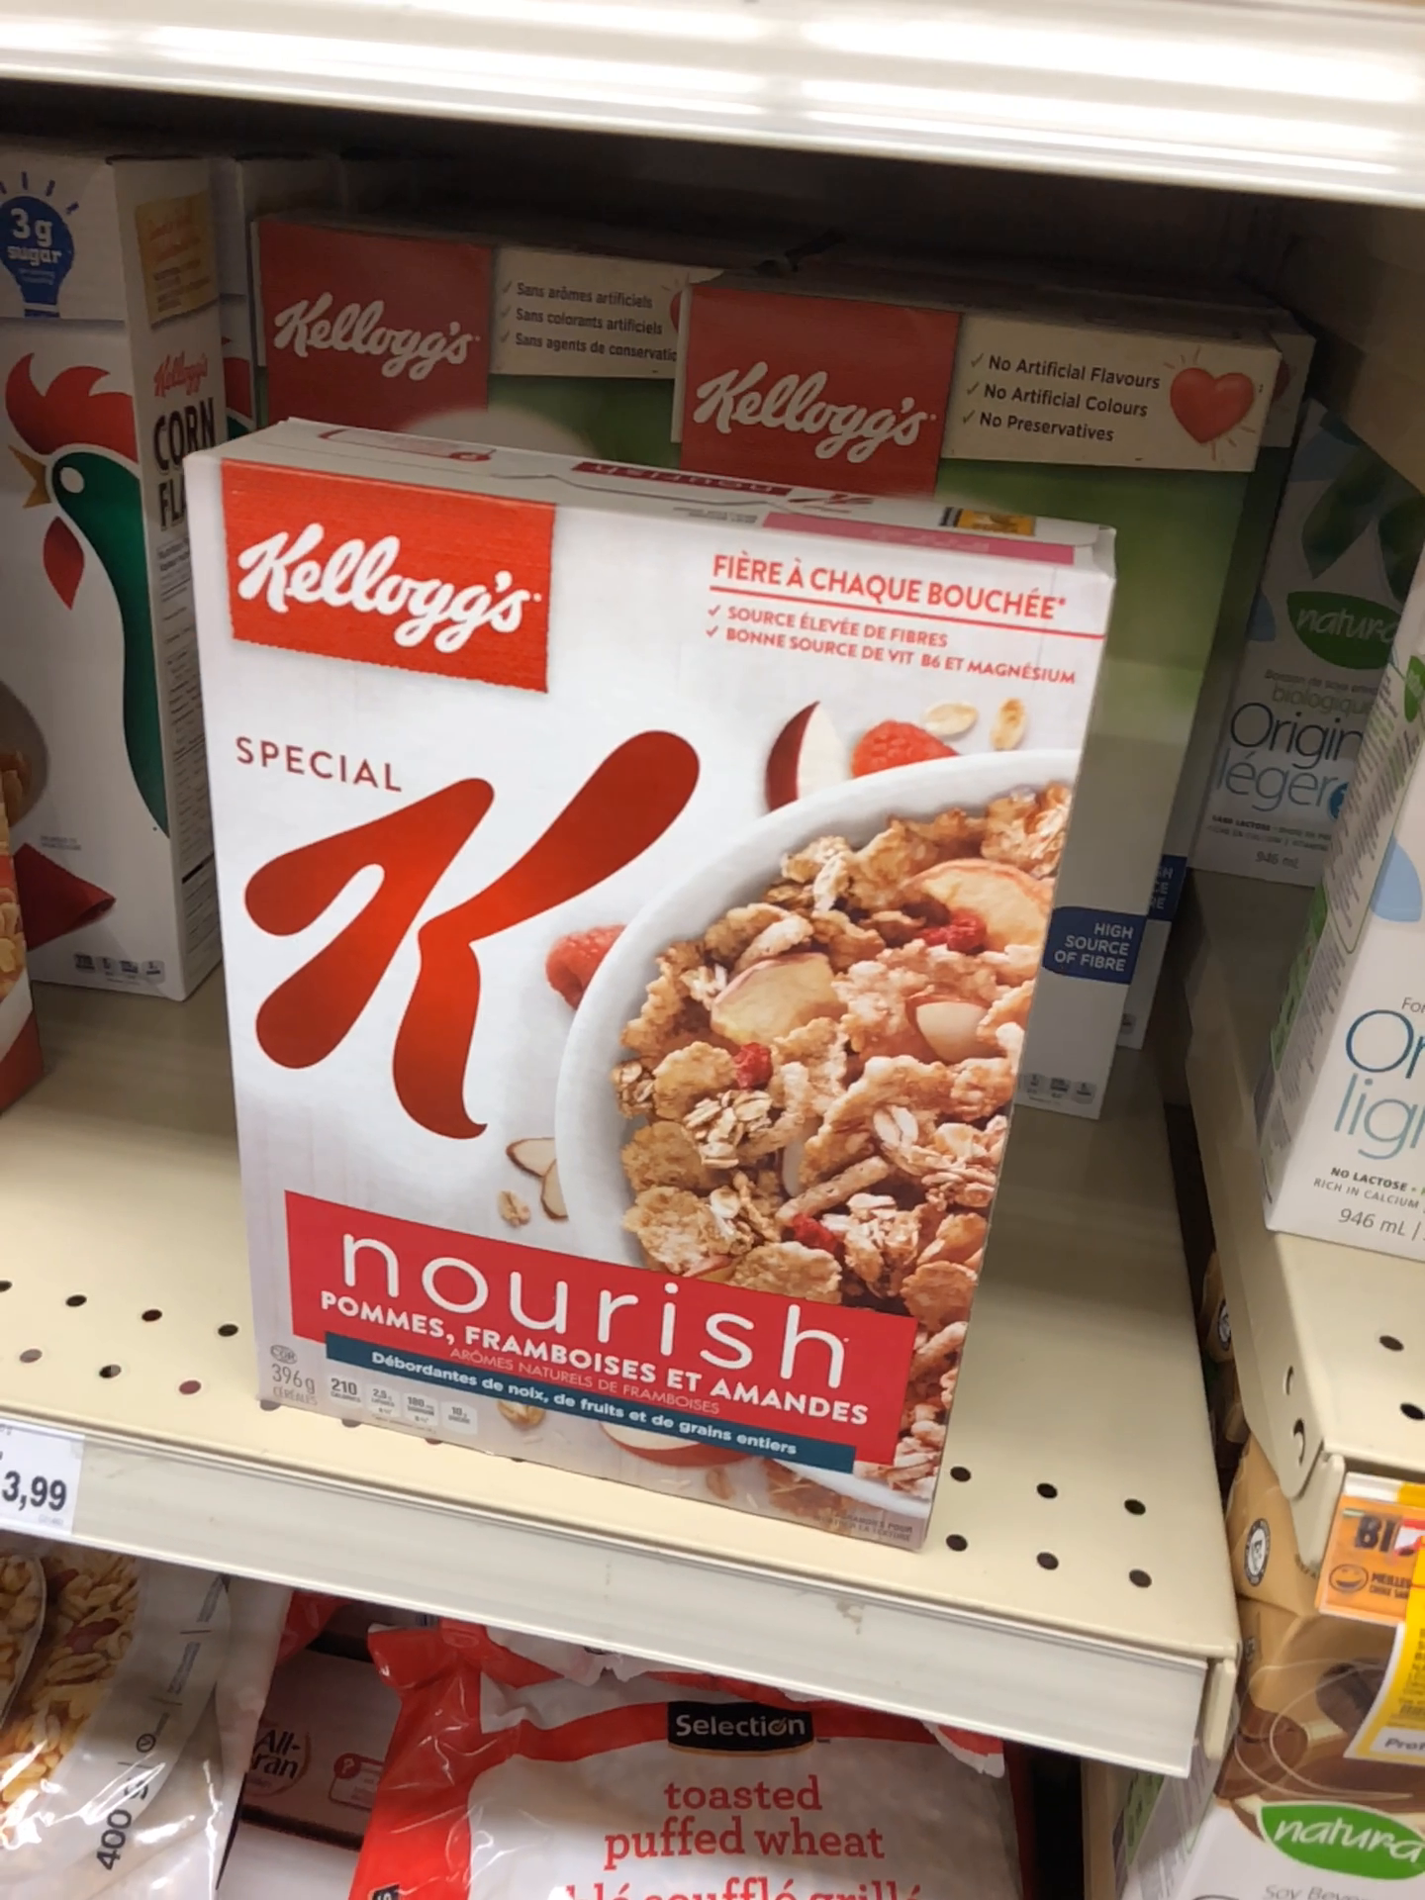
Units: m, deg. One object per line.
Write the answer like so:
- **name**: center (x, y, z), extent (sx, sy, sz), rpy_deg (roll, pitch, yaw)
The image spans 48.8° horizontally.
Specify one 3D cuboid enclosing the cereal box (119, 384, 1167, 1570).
- **cereal box**: center (-0.022, 0.012, 0.372), extent (0.200, 0.248, 0.060), rpy_deg (10, 28, 9)
